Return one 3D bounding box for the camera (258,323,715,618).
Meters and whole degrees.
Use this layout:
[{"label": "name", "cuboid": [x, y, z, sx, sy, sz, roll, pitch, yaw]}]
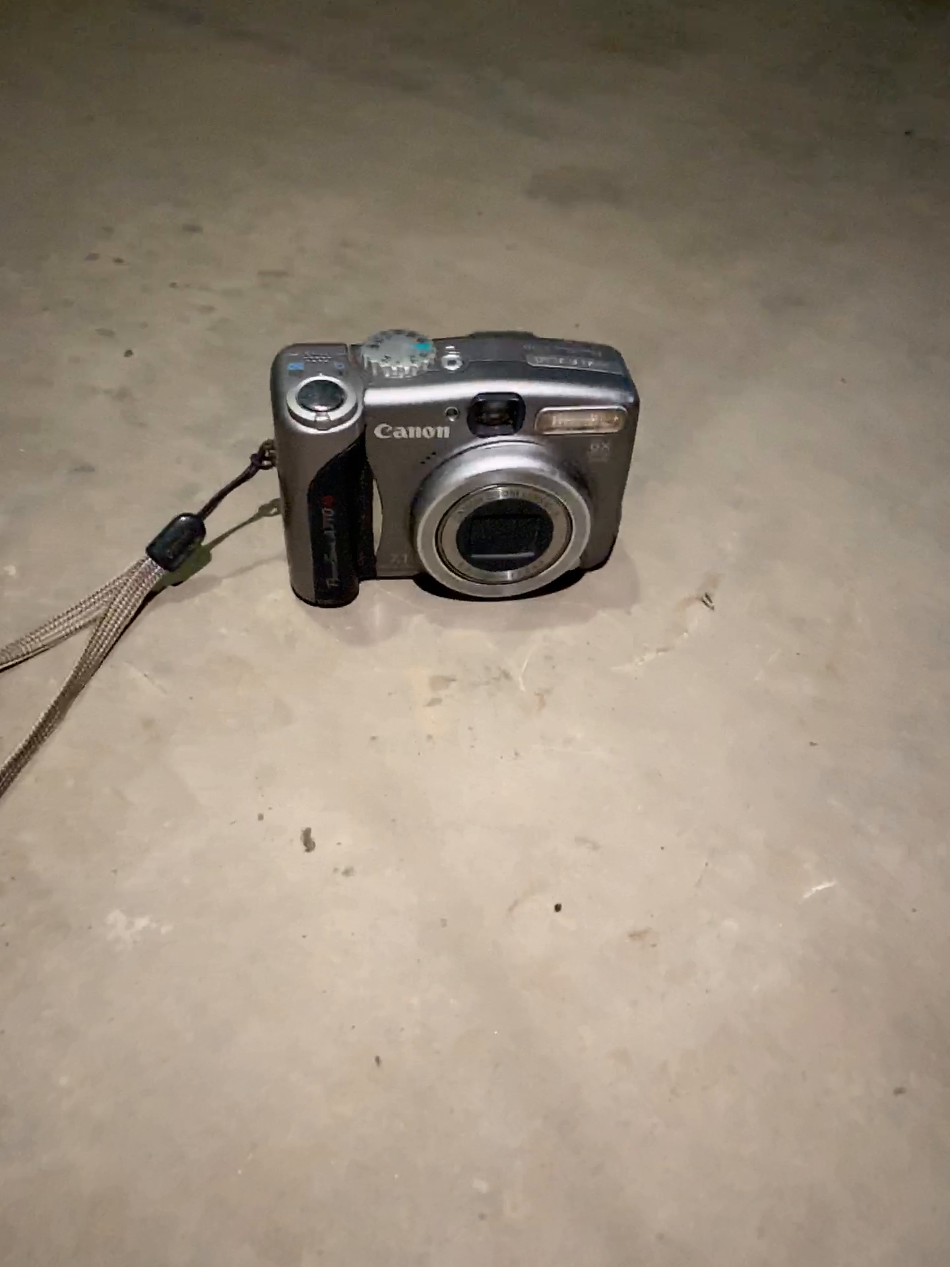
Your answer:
[{"label": "camera", "cuboid": [-0.001, -0.045, 0.267, 0.108, 0.059, 0.048, -3, 46, -9]}]
